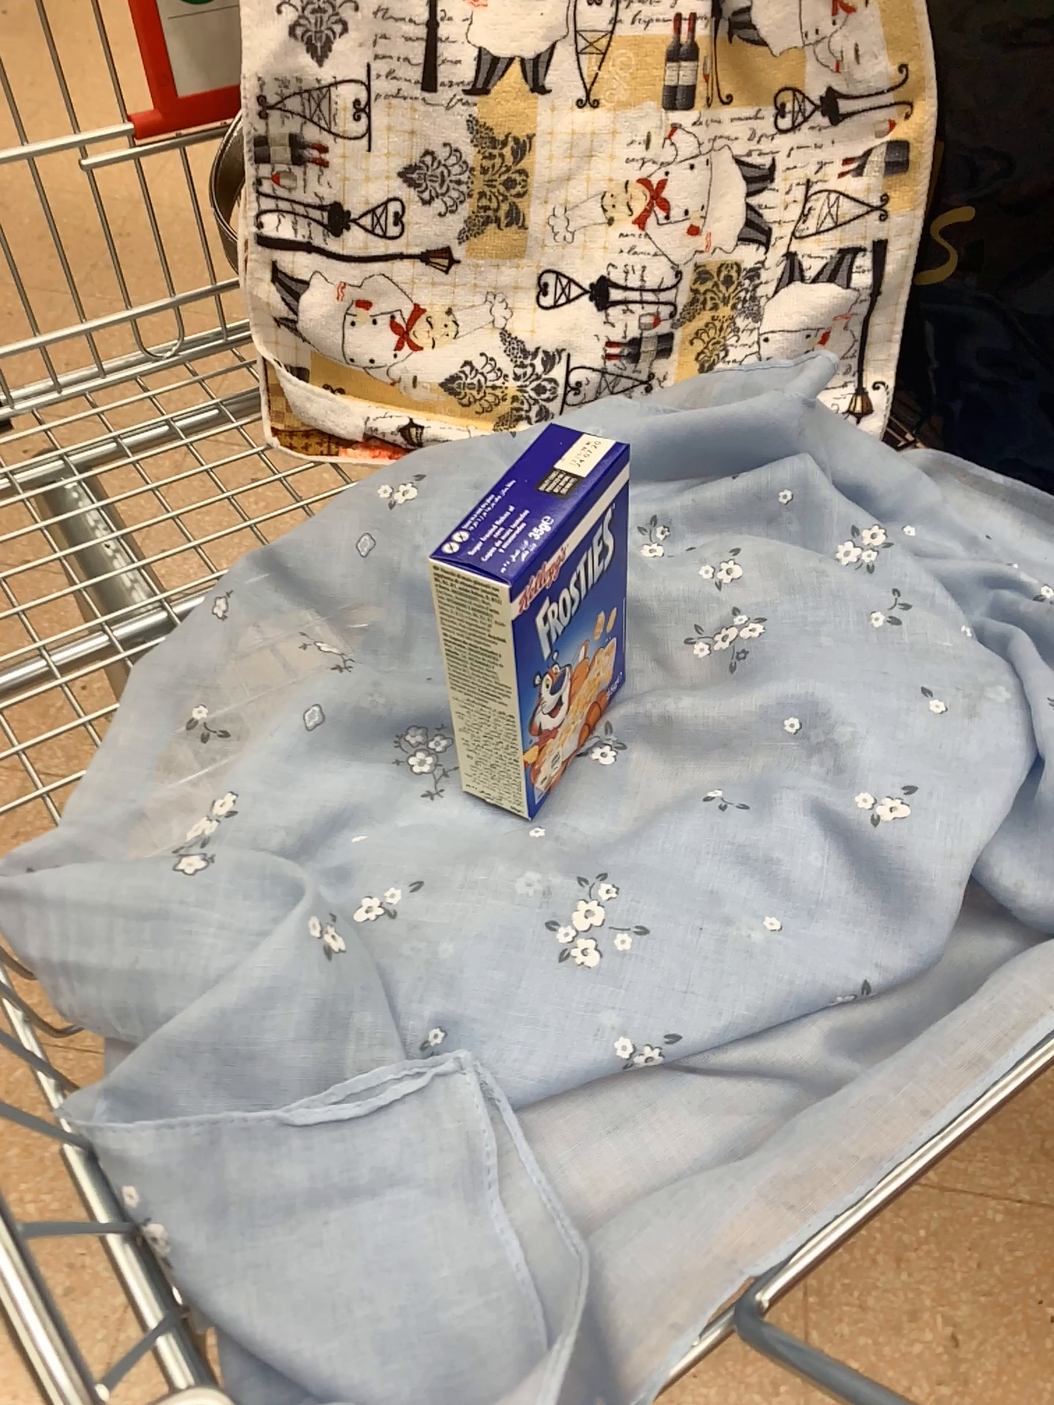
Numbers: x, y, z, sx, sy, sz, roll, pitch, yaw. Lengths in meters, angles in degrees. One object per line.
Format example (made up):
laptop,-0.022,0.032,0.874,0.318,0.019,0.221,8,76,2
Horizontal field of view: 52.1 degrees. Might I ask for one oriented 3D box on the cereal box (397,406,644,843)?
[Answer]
cereal box,0.003,-0.027,0.415,0.040,0.129,0.101,21,53,21
